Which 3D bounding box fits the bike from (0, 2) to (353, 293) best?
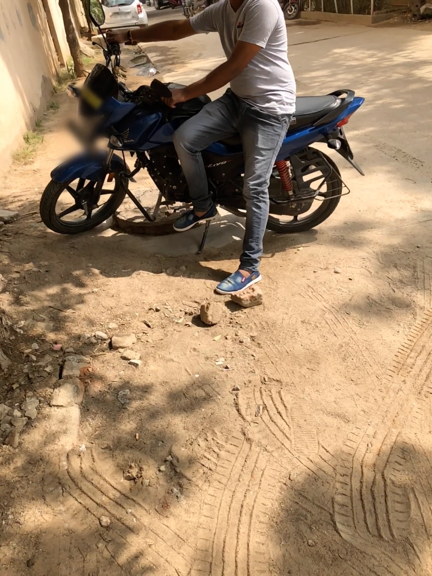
[{"bbox_3d":[-0.215,-0.756,2.601,1.783,1.242,0.744,-5,32,3],"label":"bike"}]
